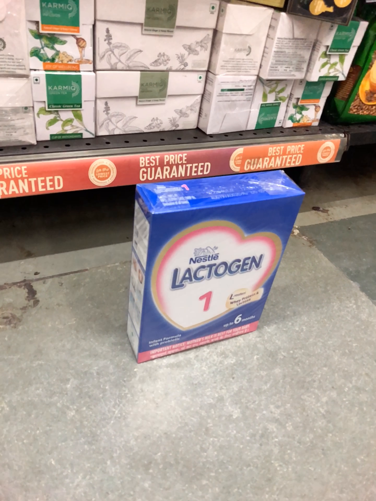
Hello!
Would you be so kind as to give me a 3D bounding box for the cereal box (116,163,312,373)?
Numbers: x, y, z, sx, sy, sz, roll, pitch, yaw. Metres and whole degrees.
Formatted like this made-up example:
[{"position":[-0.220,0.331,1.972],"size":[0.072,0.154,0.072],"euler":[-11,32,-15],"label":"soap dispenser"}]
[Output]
[{"position":[0.015,0.020,0.414],"size":[0.161,0.199,0.050],"euler":[-10,41,-23],"label":"cereal box"}]
